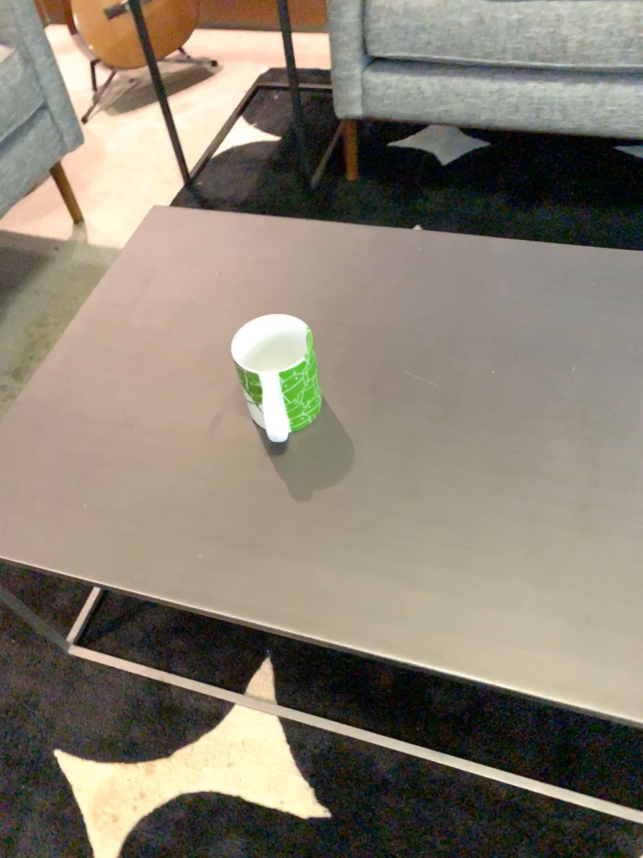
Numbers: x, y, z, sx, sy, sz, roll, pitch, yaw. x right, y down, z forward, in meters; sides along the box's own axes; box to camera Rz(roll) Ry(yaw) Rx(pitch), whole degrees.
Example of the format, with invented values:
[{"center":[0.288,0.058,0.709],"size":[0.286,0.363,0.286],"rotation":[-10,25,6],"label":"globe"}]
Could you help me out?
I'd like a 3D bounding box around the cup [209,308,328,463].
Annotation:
[{"center":[-0.048,-0.044,0.664],"size":[0.100,0.090,0.120],"rotation":[-3,53,5],"label":"cup"}]
